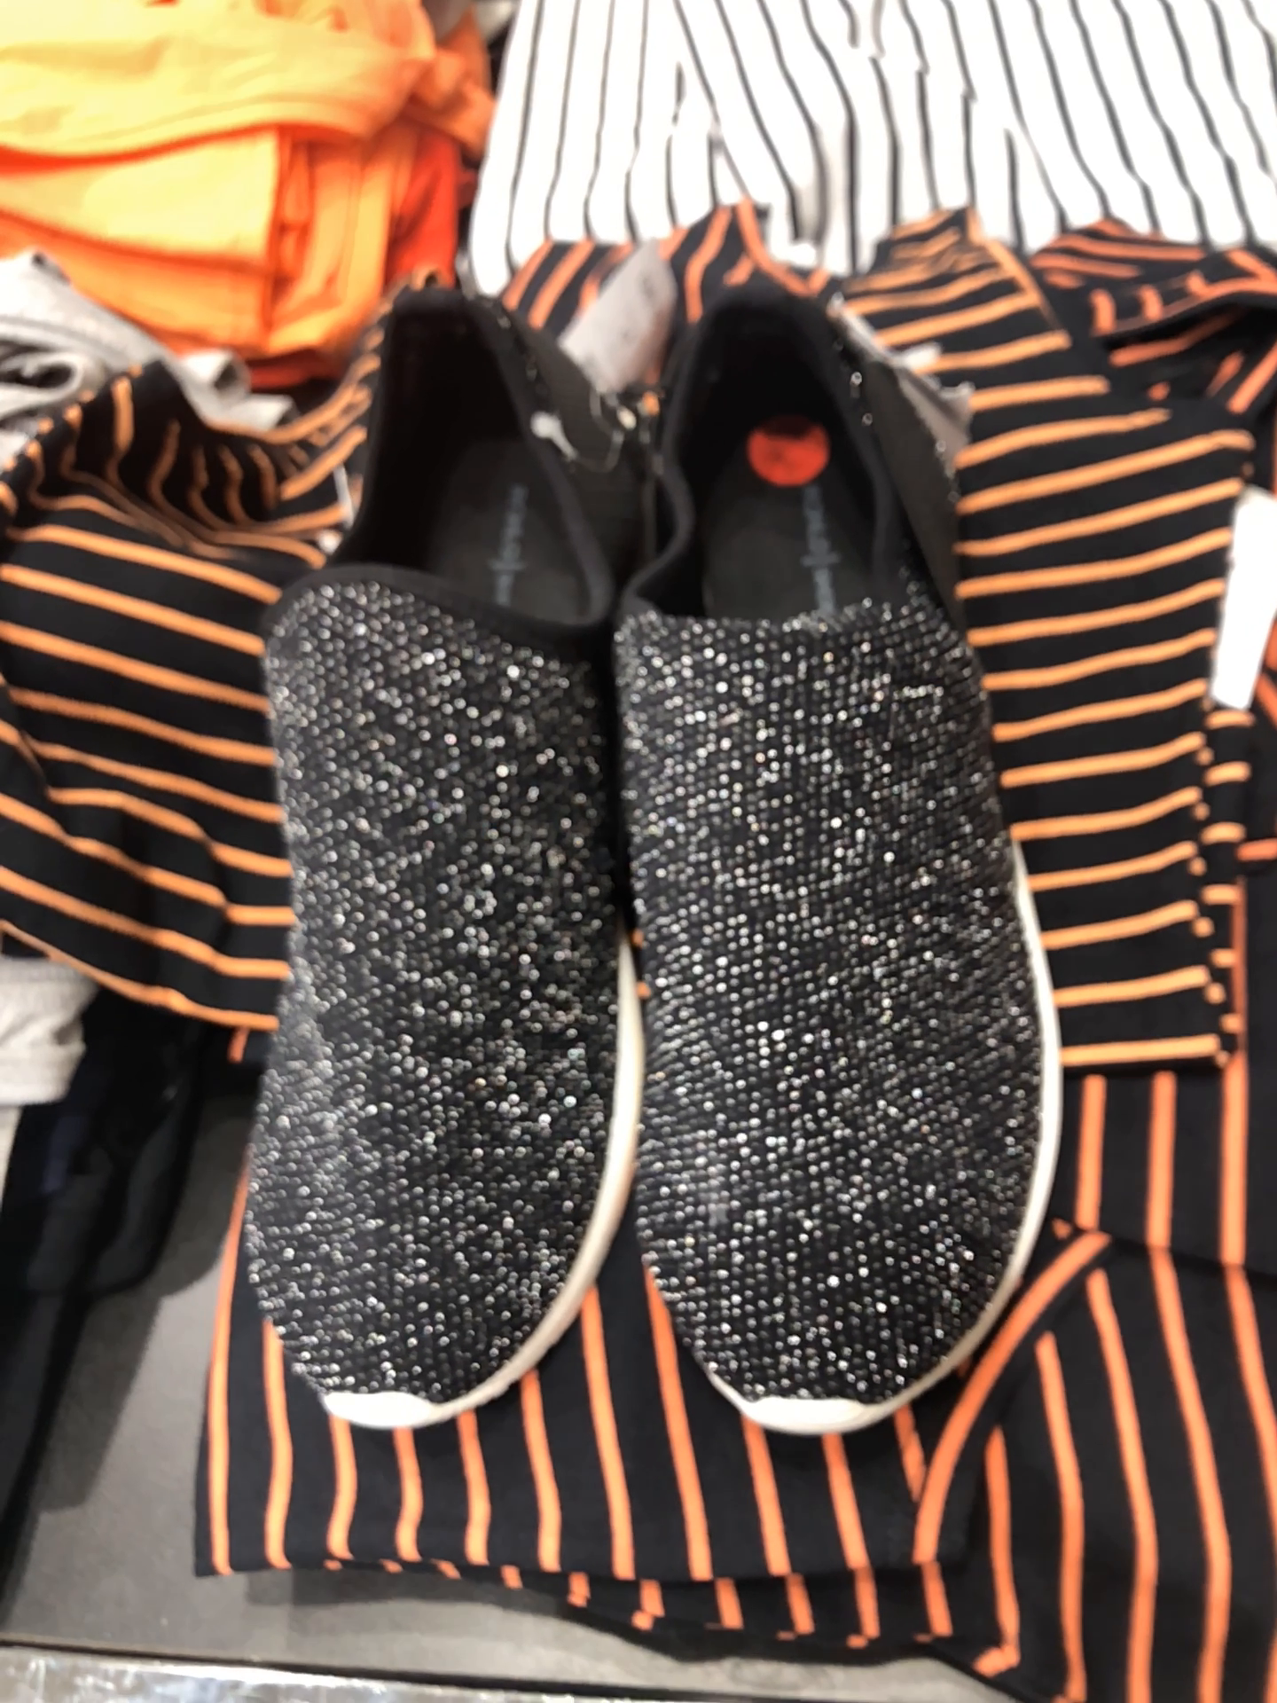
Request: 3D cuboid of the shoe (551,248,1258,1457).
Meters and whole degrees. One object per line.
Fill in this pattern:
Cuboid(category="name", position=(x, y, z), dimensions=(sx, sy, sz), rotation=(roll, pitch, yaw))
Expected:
Cuboid(category="shoe", position=(0.045, -0.005, 0.317), dimensions=(0.100, 0.109, 0.241), rotation=(-3, 57, 6))

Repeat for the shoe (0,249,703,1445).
Cuboid(category="shoe", position=(-0.044, -0.008, 0.322), dimensions=(0.100, 0.109, 0.241), rotation=(-1, 58, 7))
